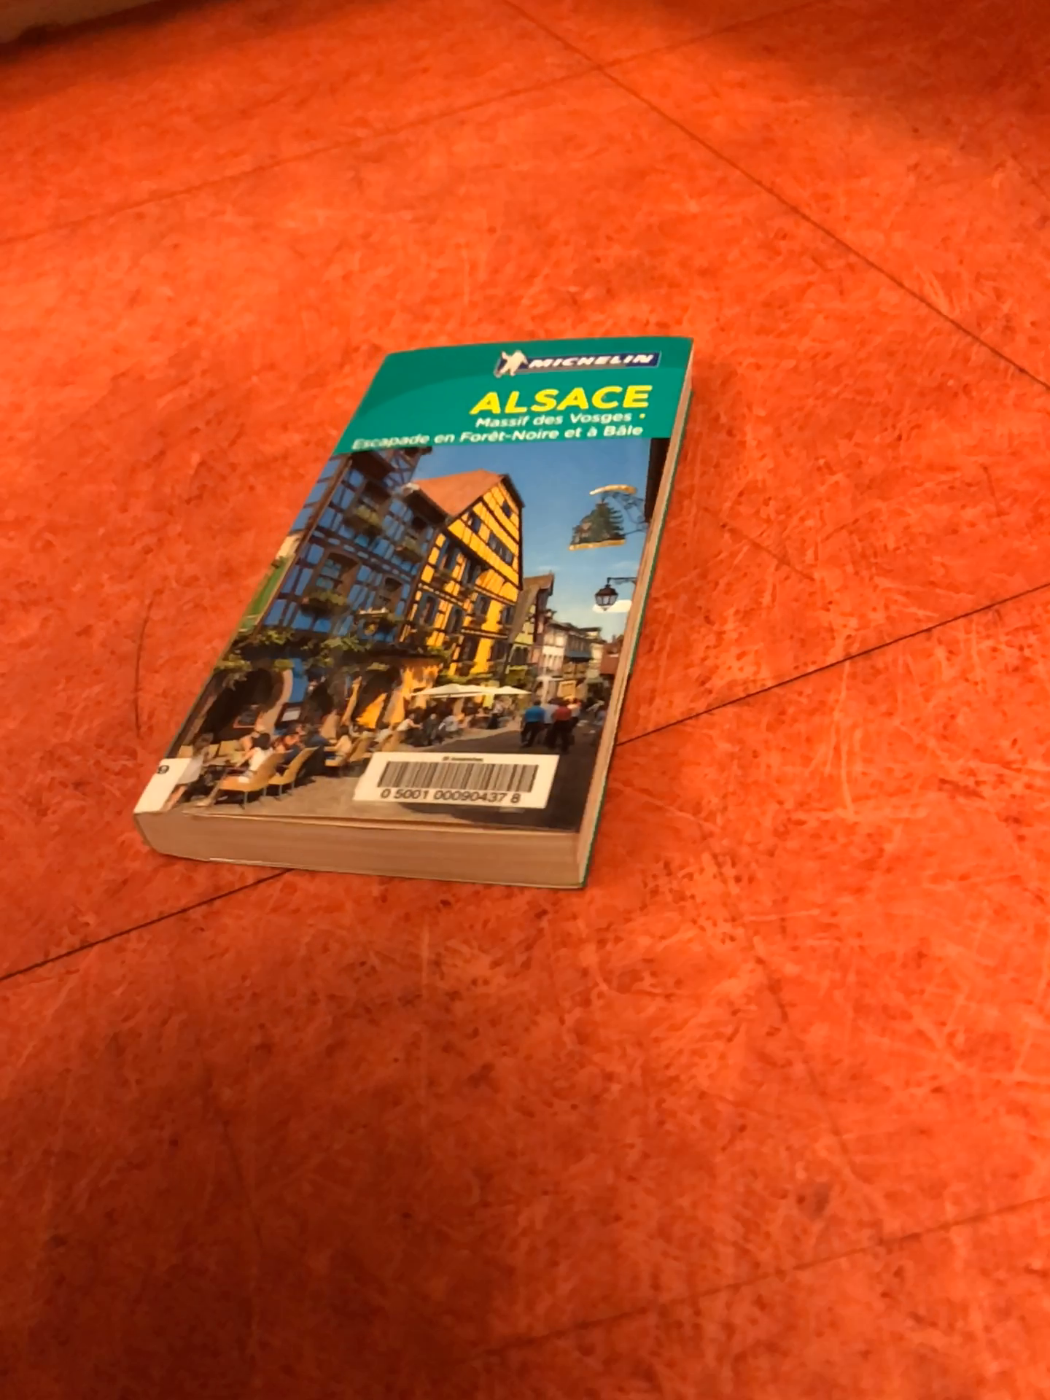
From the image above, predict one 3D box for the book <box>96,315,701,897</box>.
[{"bbox_3d":[-0.020,-0.044,0.342,0.116,0.030,0.214,2,46,16],"label":"book"}]
